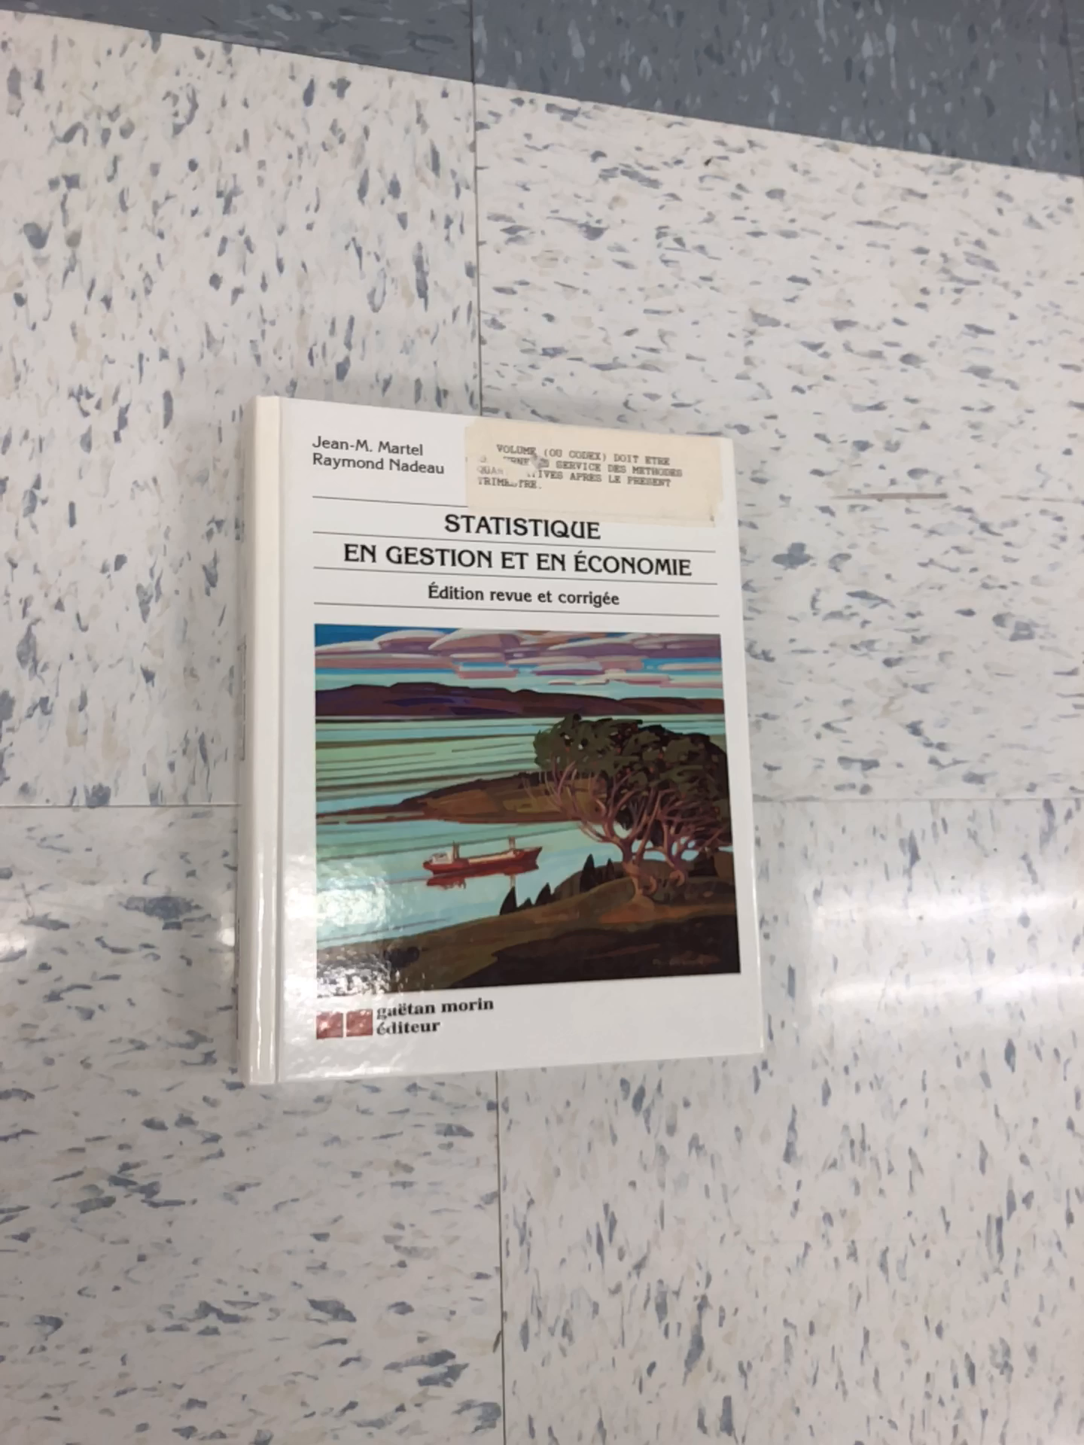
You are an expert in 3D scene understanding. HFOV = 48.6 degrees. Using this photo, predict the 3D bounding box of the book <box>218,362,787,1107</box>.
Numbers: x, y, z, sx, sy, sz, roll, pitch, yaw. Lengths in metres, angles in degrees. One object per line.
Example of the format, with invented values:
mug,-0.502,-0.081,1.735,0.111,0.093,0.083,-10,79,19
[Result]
book,-0.018,0.004,0.438,0.190,0.060,0.240,1,81,-16
